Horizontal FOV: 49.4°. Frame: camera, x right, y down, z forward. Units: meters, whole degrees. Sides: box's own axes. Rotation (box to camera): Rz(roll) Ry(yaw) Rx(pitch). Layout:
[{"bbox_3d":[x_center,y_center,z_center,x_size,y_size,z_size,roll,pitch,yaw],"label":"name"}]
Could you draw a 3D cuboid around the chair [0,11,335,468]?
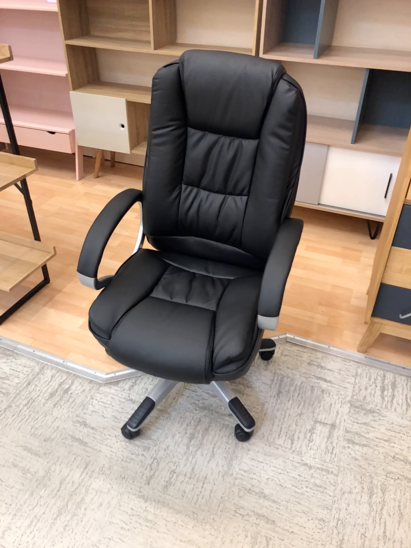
[{"bbox_3d":[-0.108,-0.128,1.337,0.759,1.064,0.685,10,35,12],"label":"chair"}]
